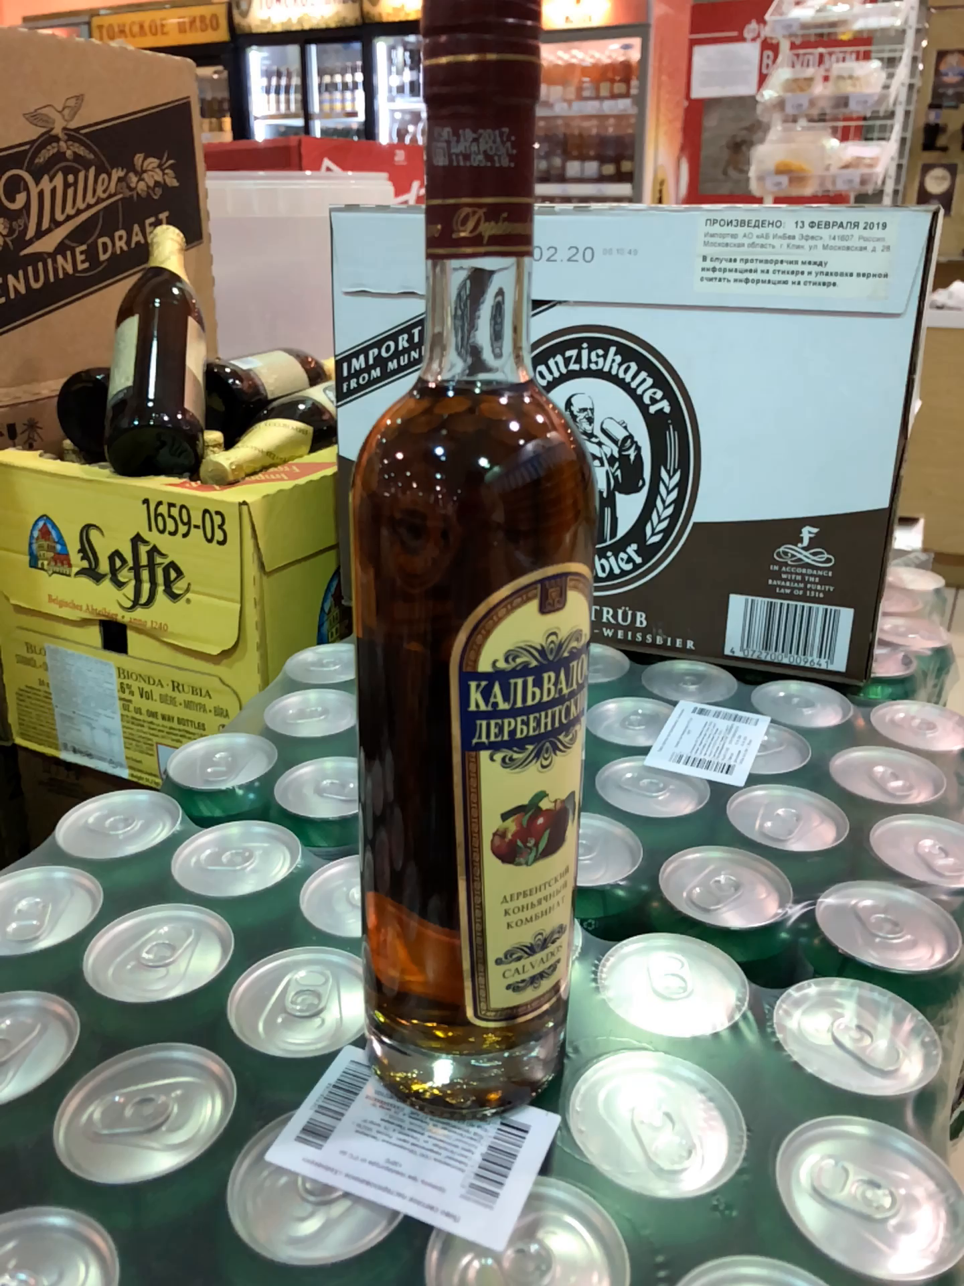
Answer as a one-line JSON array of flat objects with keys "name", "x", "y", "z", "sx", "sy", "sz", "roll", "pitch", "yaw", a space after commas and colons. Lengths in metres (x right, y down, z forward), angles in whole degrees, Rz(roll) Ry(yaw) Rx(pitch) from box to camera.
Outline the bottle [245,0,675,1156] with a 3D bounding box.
[{"name": "bottle", "x": -0.005, "y": -0.010, "z": 0.295, "sx": 0.070, "sy": 0.298, "sz": 0.070, "roll": 0, "pitch": 21, "yaw": 0}]
